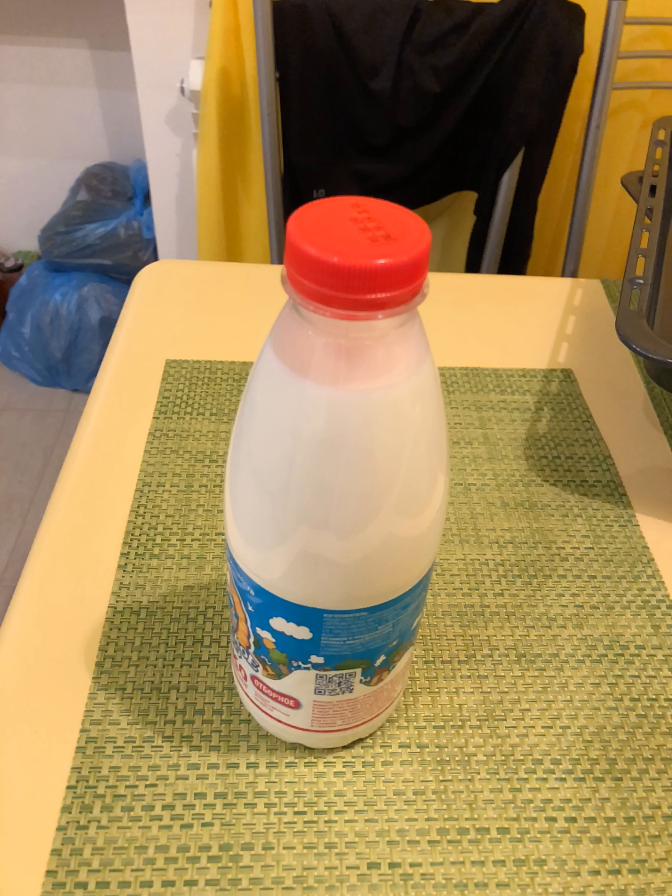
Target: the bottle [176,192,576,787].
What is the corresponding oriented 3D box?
[{"bbox_3d":[0.001,0.031,0.272,0.090,0.218,0.091,2,43,-2],"label":"bottle"}]
